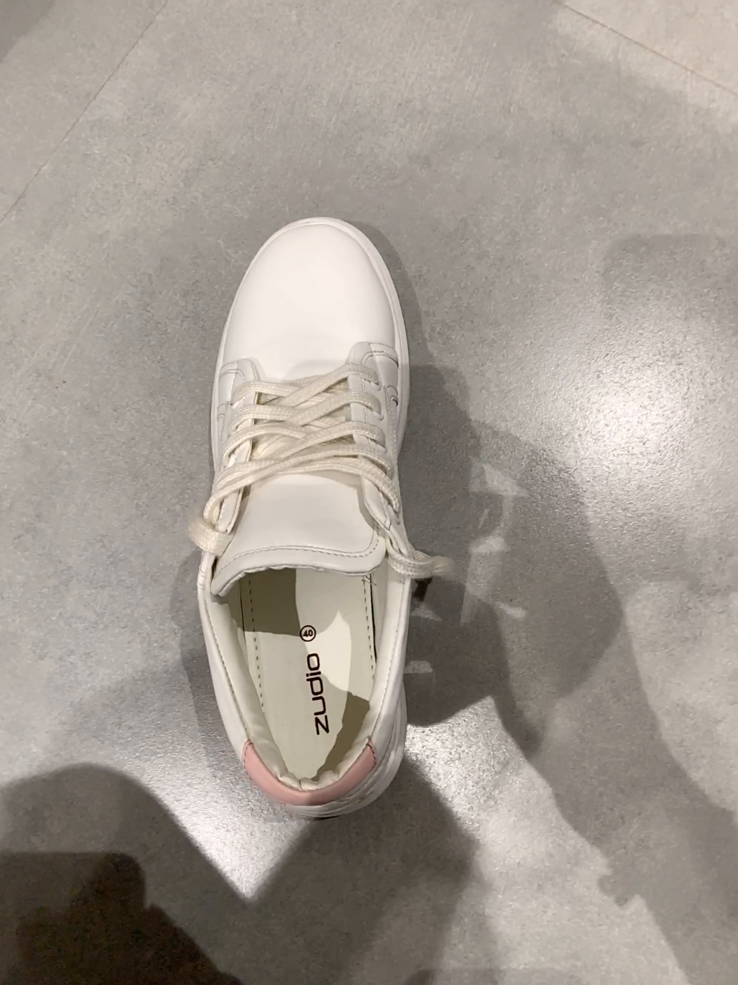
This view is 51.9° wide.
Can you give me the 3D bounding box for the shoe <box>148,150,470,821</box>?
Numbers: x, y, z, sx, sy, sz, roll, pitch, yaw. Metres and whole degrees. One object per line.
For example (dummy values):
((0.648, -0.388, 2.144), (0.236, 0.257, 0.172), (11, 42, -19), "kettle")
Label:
((-0.025, -0.002, 0.332), (0.110, 0.100, 0.250), (-4, 78, 3), "shoe")
